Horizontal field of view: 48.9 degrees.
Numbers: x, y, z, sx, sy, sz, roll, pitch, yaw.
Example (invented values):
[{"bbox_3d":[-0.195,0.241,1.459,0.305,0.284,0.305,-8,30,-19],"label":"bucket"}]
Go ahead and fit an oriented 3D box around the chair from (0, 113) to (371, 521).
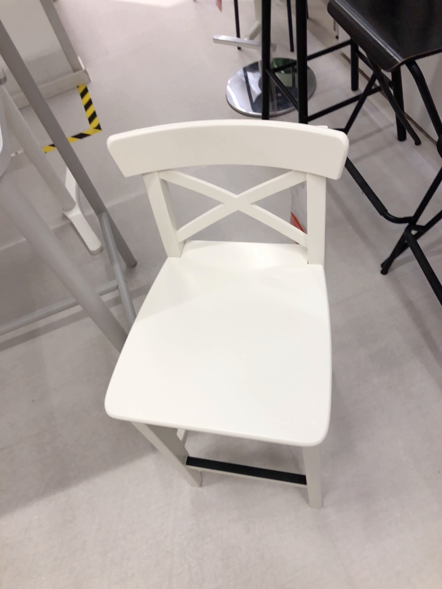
[{"bbox_3d":[0.042,0.130,0.973,0.420,0.836,0.421,4,59,15],"label":"chair"}]
